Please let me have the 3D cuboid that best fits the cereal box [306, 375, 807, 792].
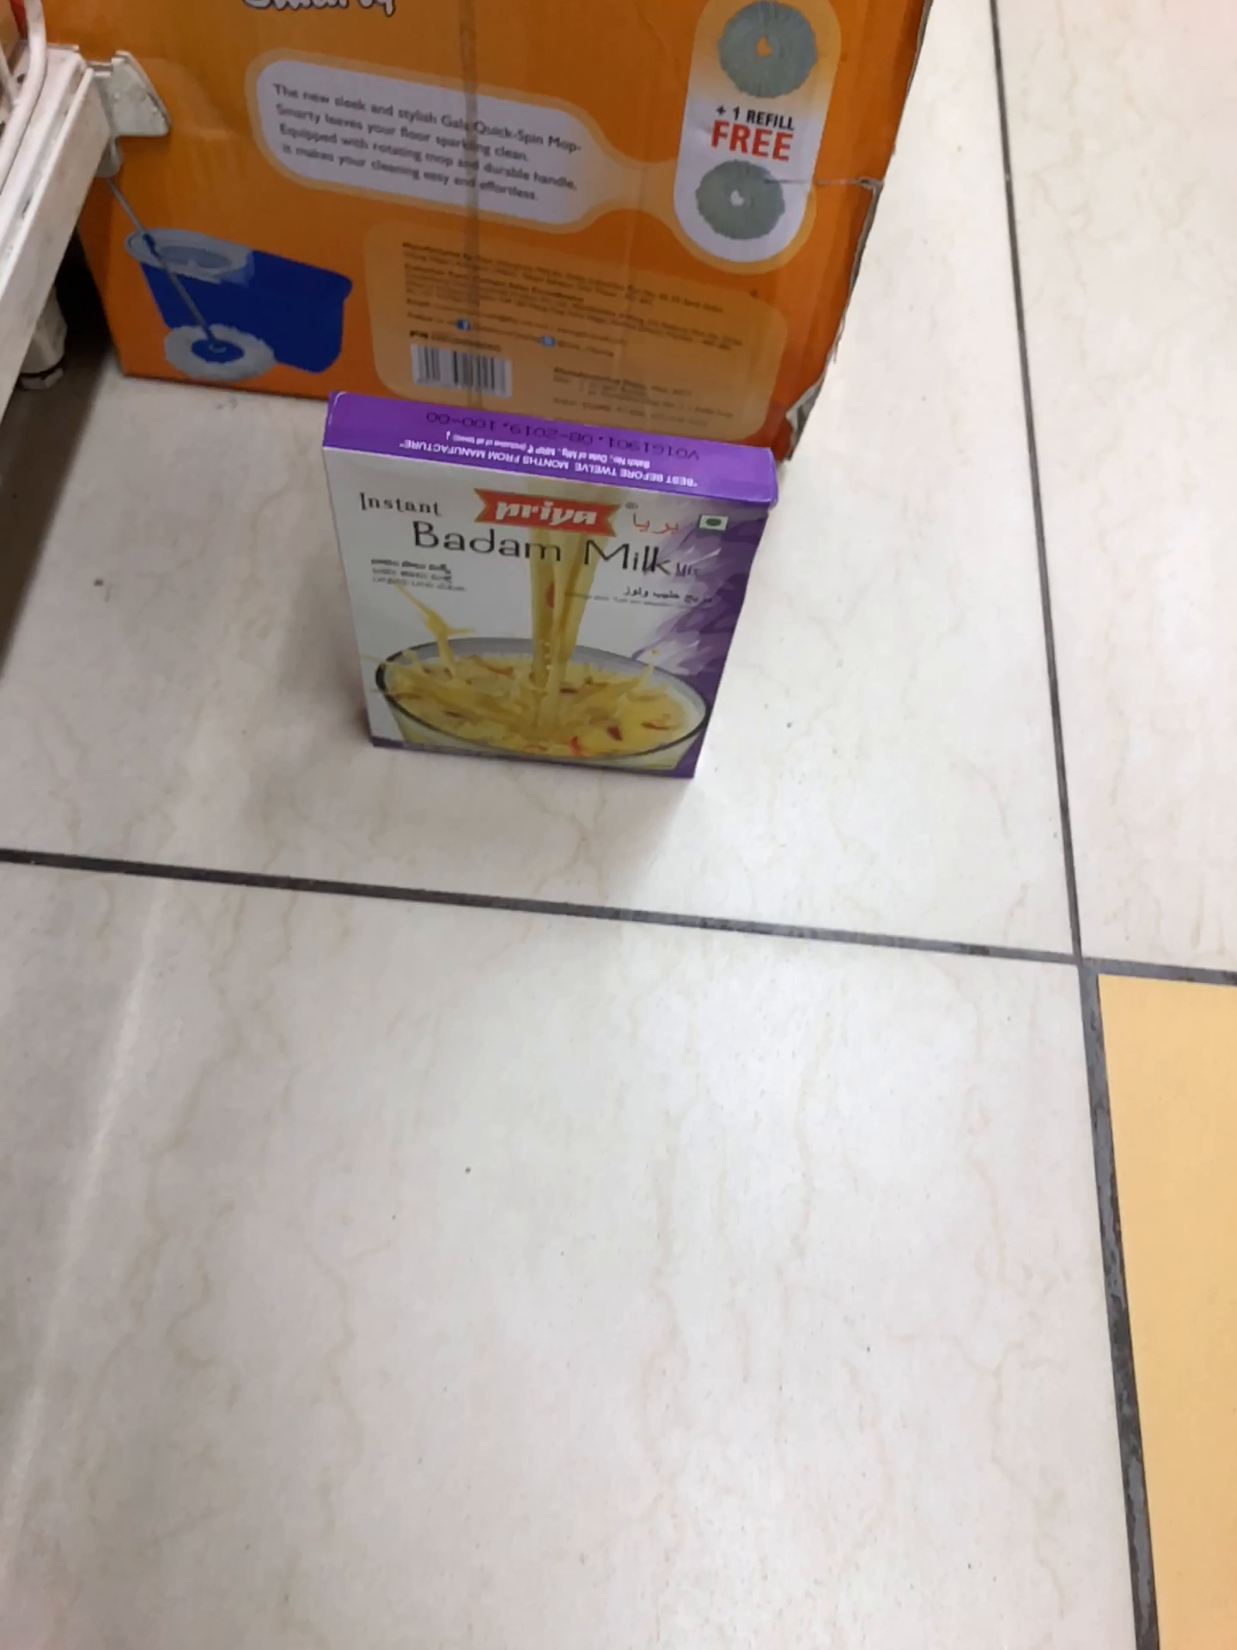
[{"bbox_3d":[-0.021,-0.066,0.428,0.130,0.149,0.030,6,62,-3],"label":"cereal box"}]
